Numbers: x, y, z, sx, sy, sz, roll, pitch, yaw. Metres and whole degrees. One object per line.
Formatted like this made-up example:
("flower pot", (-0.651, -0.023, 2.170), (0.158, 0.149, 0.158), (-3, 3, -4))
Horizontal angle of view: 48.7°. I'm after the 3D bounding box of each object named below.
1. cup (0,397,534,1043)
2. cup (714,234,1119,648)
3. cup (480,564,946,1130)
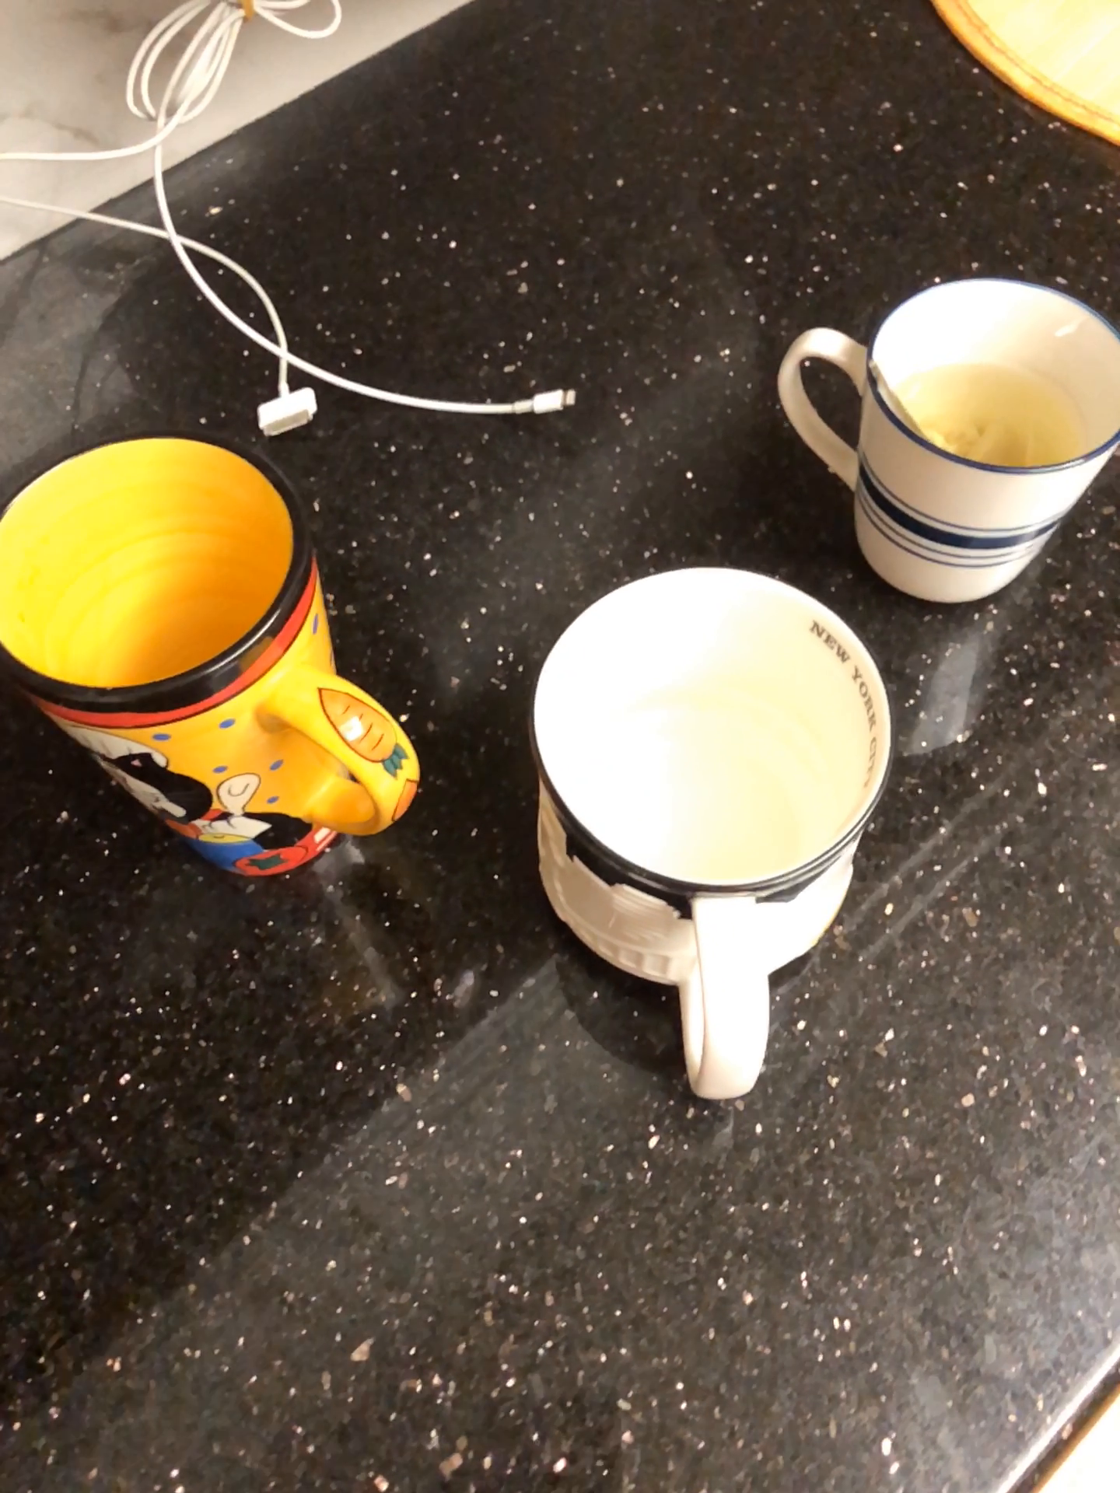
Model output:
("cup", (-0.100, -0.007, 0.368), (0.150, 0.100, 0.100), (29, 66, 17))
("cup", (0.131, -0.109, 0.434), (0.120, 0.060, 0.090), (27, 65, 17))
("cup", (0.042, 0.029, 0.363), (0.110, 0.080, 0.140), (2, 61, 4))
